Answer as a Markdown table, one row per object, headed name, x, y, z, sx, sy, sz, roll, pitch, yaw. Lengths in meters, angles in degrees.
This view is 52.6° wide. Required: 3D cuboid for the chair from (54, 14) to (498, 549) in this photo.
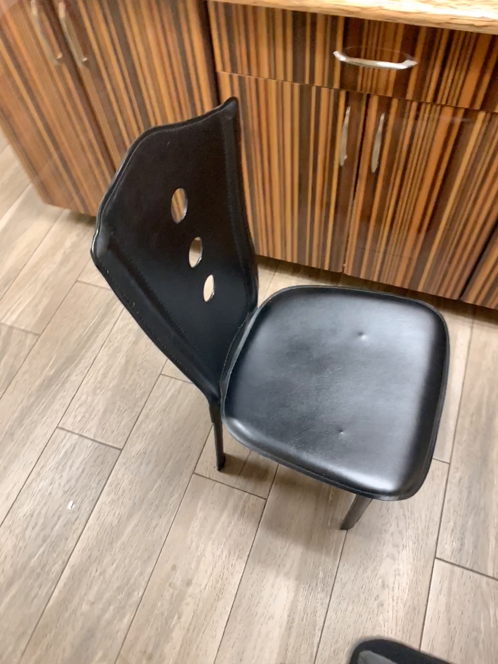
| name | x | y | z | sx | sy | sz | roll | pitch | yaw |
| --- | --- | --- | --- | --- | --- | --- | --- | --- | --- |
| chair | 0.134 | 0.033 | 0.970 | 0.473 | 0.943 | 0.463 | 16 | 62 | 13 |
